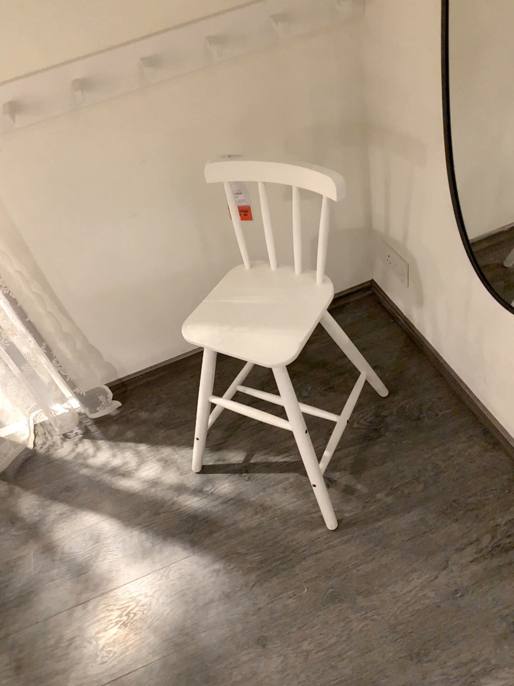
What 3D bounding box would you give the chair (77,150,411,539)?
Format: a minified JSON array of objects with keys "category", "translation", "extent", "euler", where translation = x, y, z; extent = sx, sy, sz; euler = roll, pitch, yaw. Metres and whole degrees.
[{"category":"chair","translation":[0.048,0.002,1.186],"extent":[0.451,0.657,0.481],"euler":[14,52,26]}]
